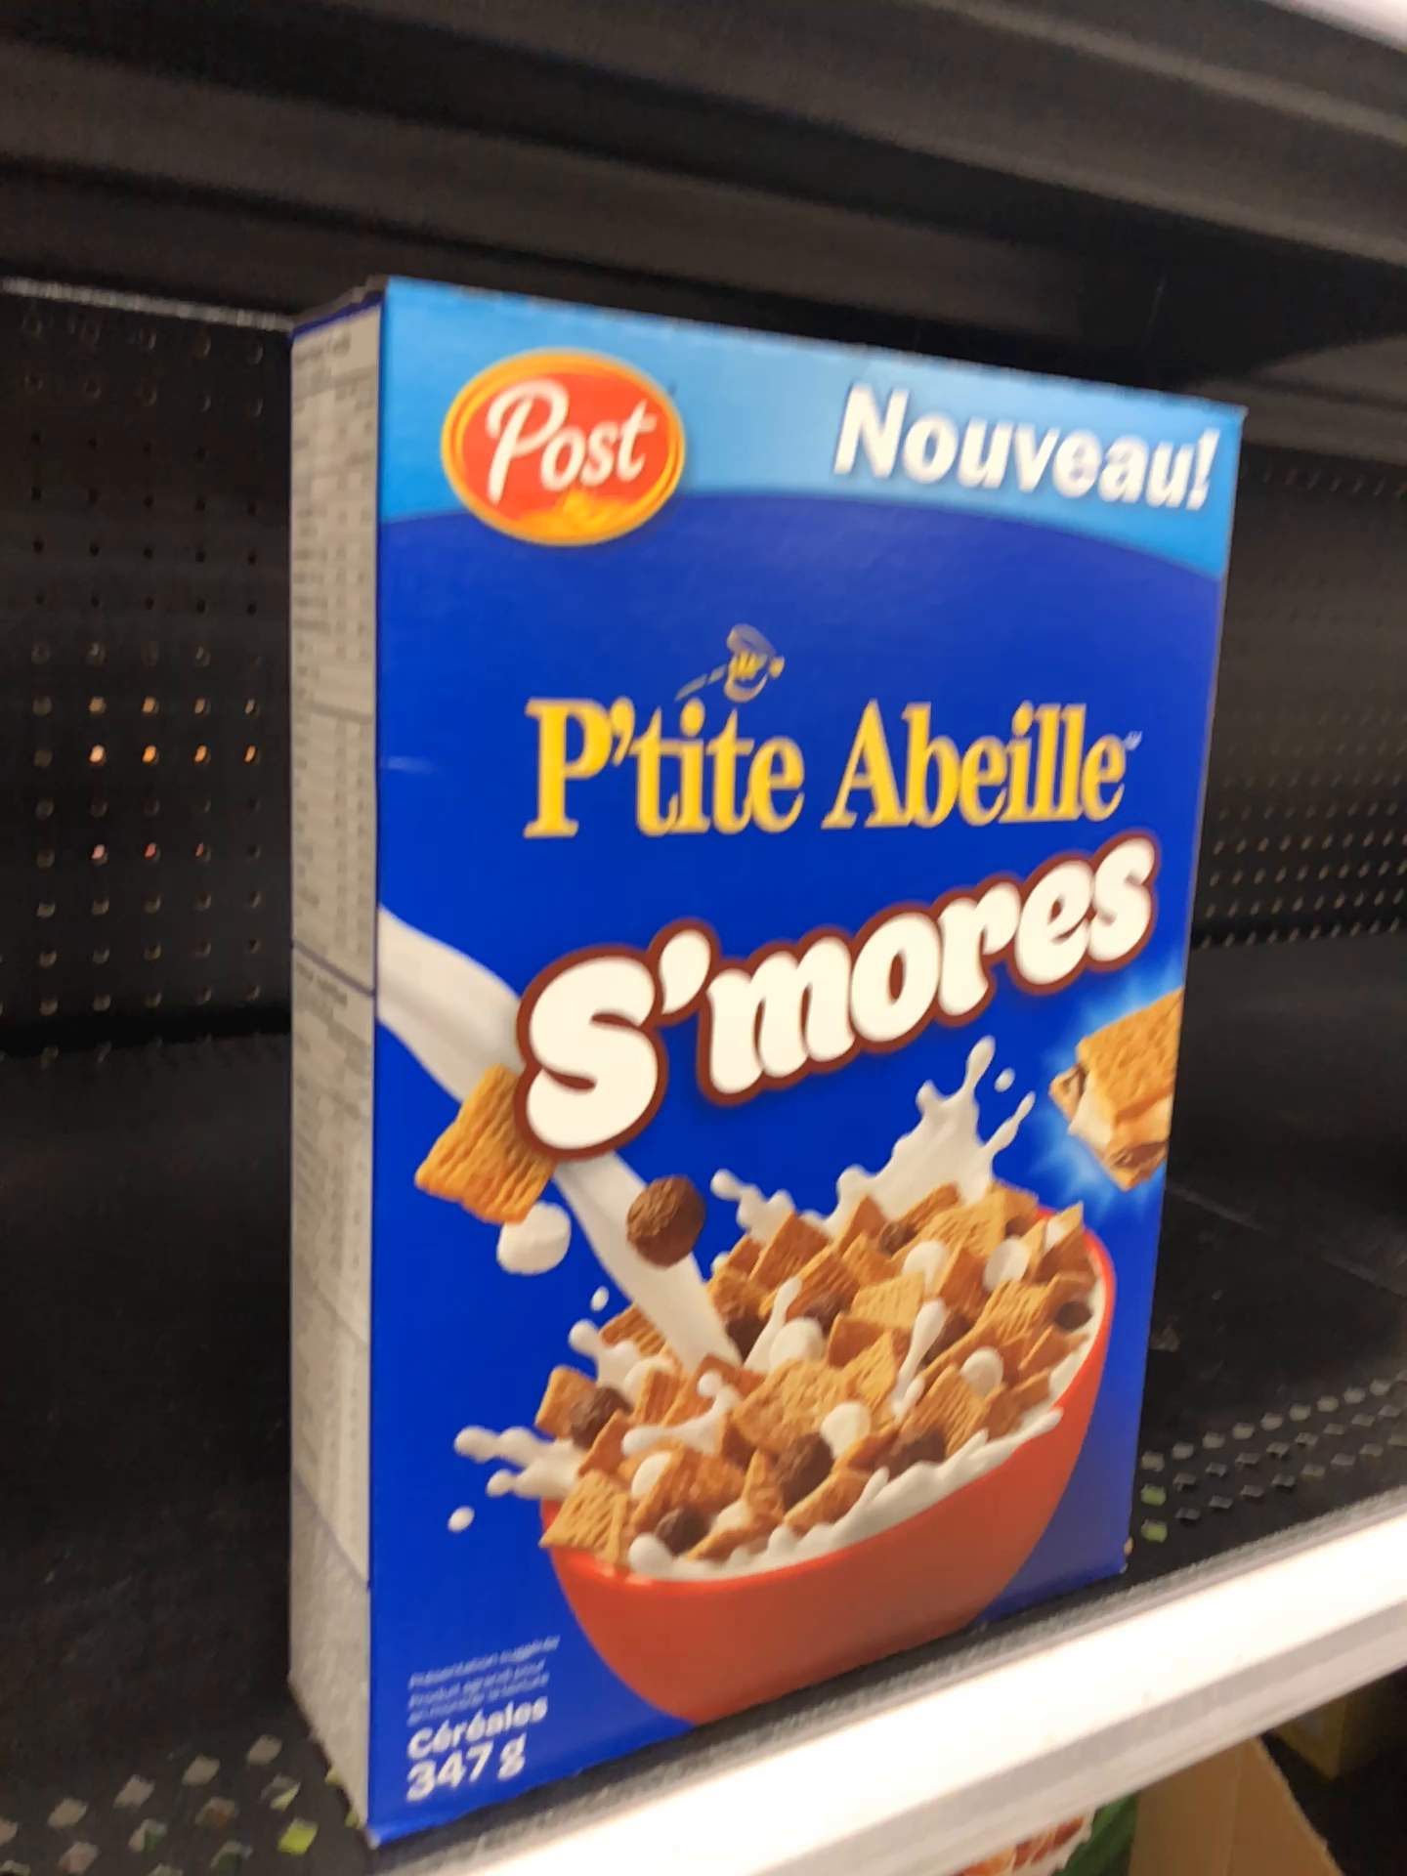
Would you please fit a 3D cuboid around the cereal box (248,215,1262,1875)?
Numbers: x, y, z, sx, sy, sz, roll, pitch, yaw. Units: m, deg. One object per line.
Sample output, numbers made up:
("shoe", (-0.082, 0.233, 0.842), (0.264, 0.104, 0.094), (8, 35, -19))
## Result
("cereal box", (0.014, 0.019, 0.330), (0.200, 0.279, 0.060), (-4, 12, -32))
